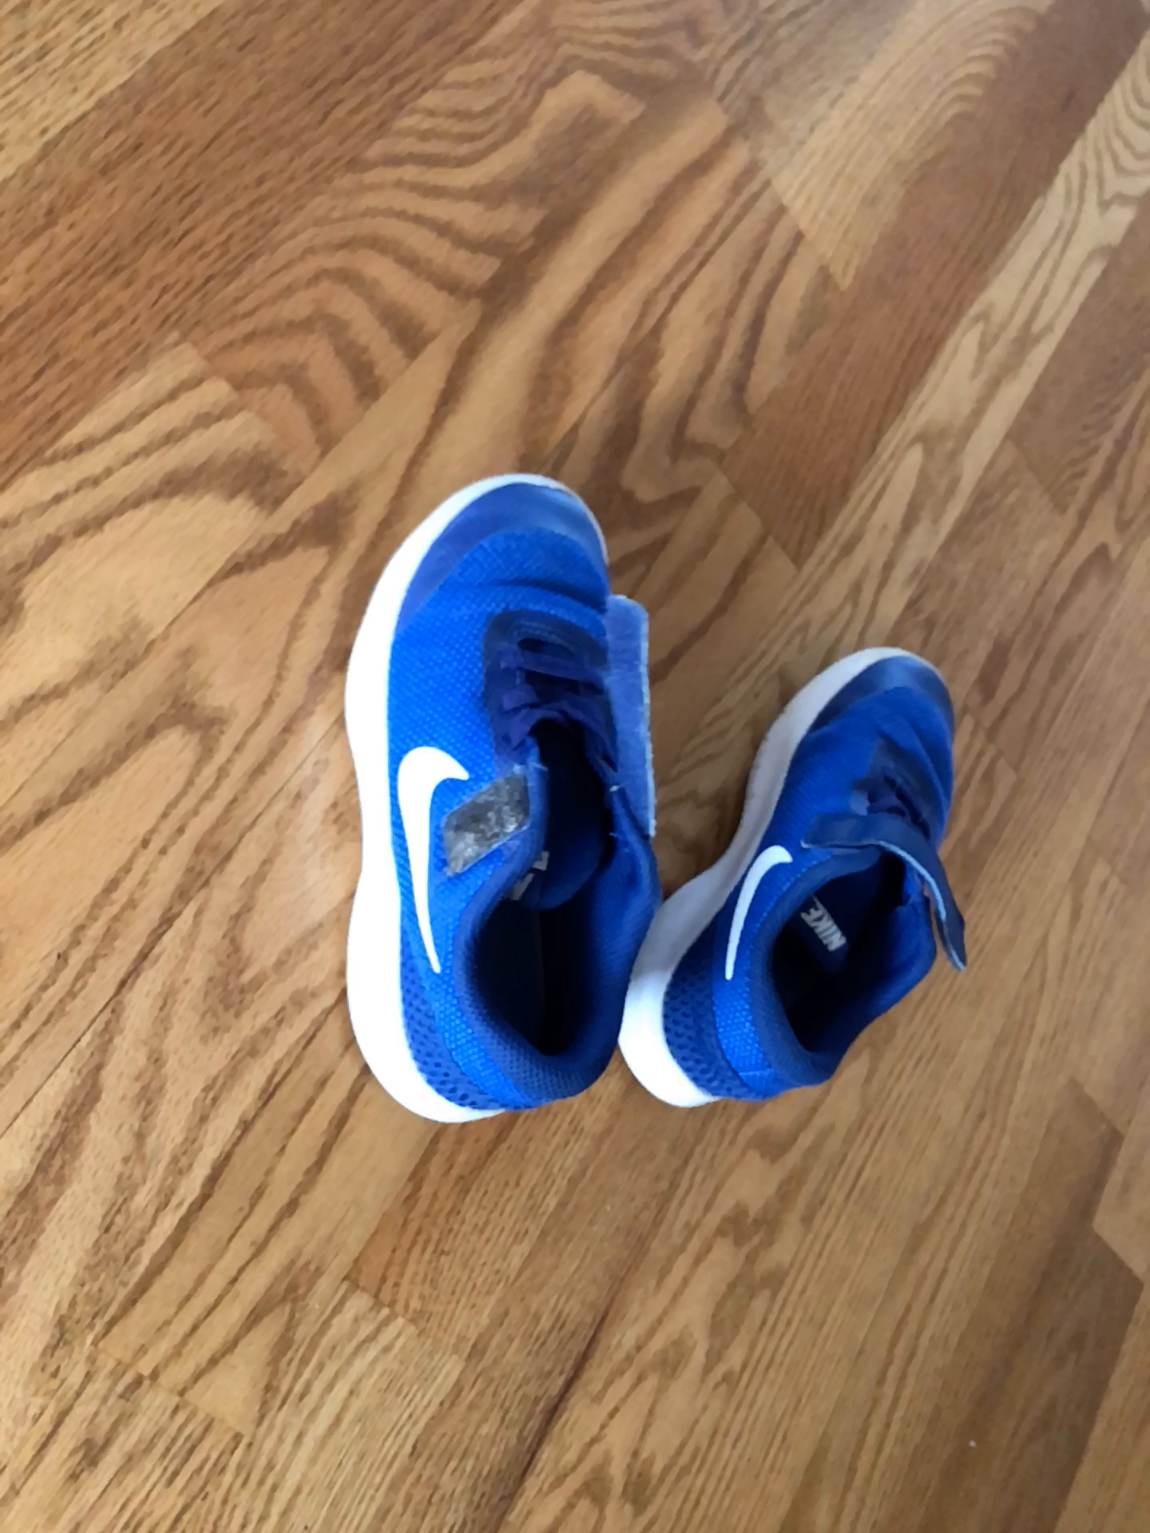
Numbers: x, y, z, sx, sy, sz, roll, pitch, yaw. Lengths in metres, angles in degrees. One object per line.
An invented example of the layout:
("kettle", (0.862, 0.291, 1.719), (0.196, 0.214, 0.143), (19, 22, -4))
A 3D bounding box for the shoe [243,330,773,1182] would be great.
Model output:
("shoe", (-0.018, 0.003, 0.380), (0.094, 0.092, 0.214), (15, 78, -34))

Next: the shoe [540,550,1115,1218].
("shoe", (0.099, 0.036, 0.469), (0.093, 0.092, 0.215), (47, 62, -24))
